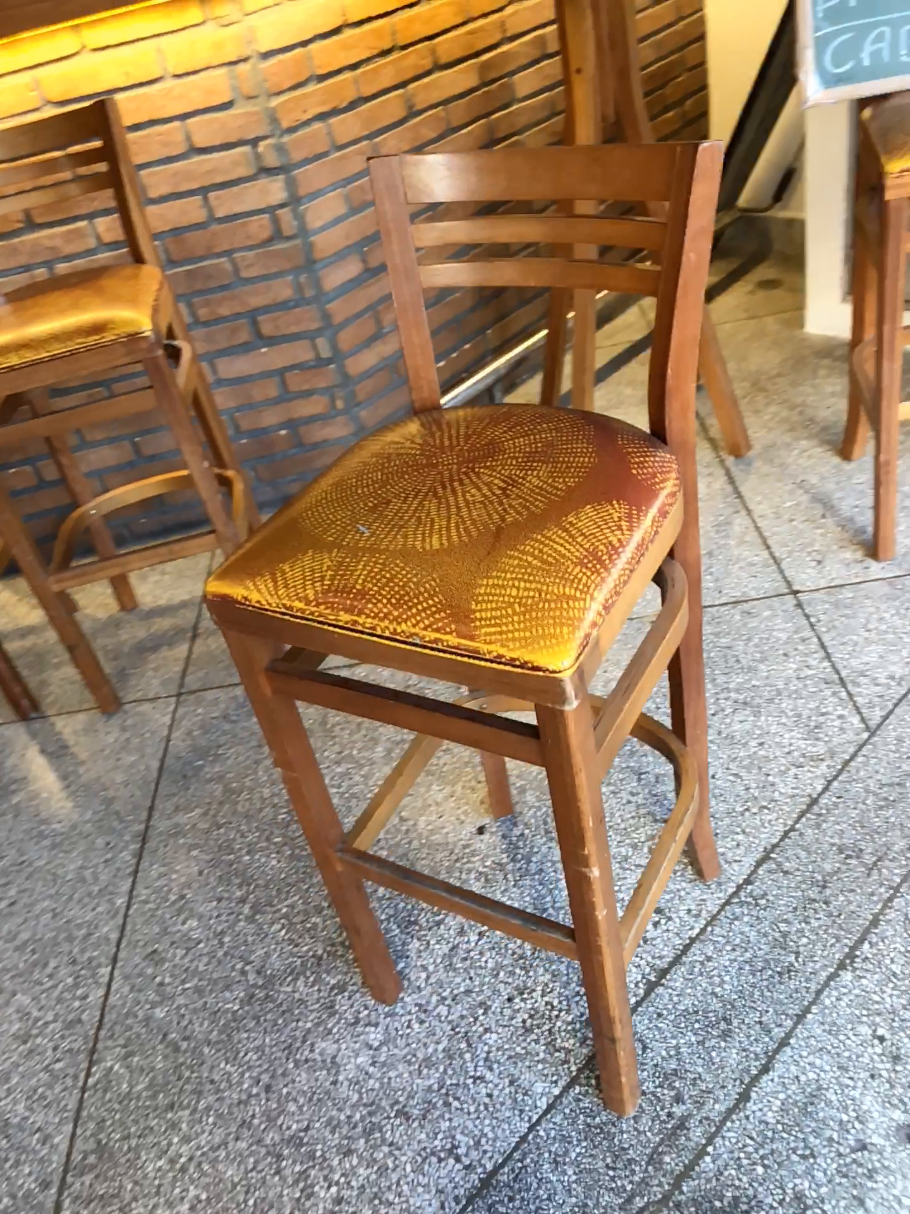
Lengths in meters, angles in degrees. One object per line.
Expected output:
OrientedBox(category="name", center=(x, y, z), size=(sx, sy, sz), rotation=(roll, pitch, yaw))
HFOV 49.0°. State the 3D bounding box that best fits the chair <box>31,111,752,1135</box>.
OrientedBox(category="chair", center=(0.045, 0.059, 1.093), size=(0.401, 0.973, 0.432), rotation=(12, 44, 31))
